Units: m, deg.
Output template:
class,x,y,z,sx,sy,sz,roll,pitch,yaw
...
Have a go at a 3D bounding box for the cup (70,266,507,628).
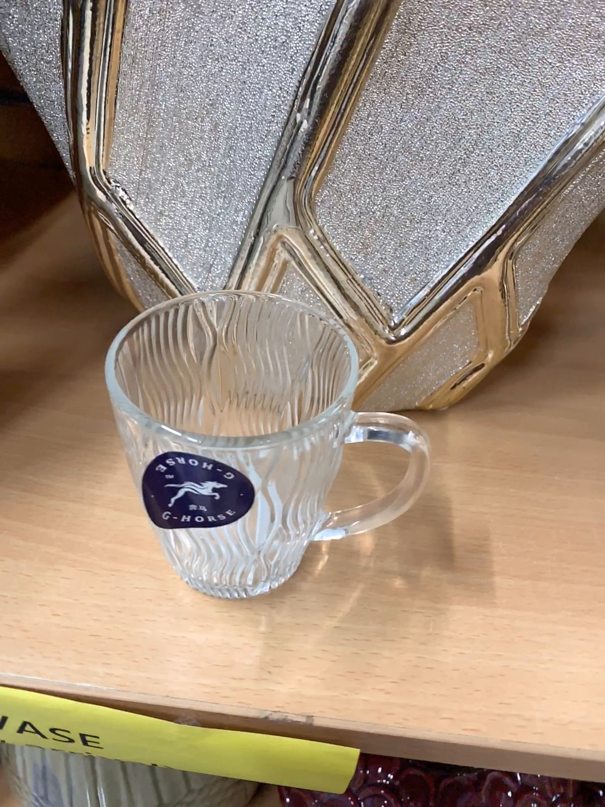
class,x,y,z,sx,sy,sz,roll,pitch,yaw
cup,-0.003,0.011,0.192,0.100,0.070,0.070,7,39,2
